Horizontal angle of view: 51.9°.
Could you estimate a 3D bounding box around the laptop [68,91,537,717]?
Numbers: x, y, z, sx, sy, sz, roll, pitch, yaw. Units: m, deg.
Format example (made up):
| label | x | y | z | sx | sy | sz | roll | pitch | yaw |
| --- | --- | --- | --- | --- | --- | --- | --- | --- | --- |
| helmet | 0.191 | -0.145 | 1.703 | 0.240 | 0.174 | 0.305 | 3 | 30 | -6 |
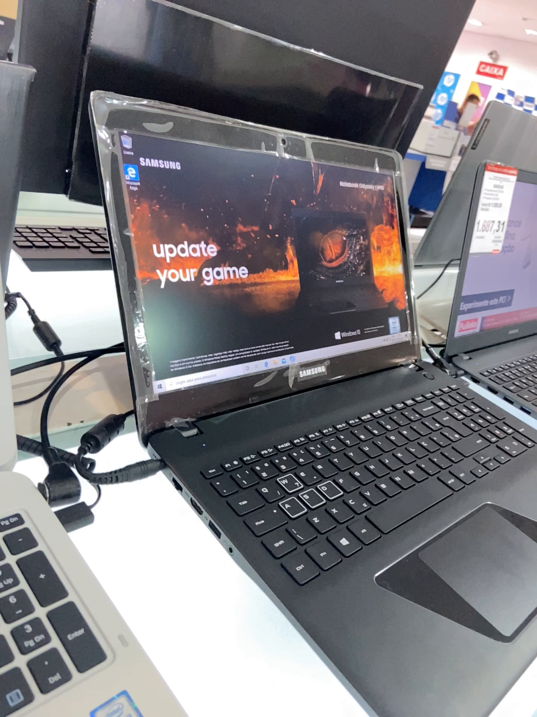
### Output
| label | x | y | z | sx | sy | sz | roll | pitch | yaw |
| --- | --- | --- | --- | --- | --- | --- | --- | --- | --- |
| laptop | 0.111 | -0.030 | 0.440 | 0.375 | 0.202 | 0.391 | -10 | 36 | -42 |
